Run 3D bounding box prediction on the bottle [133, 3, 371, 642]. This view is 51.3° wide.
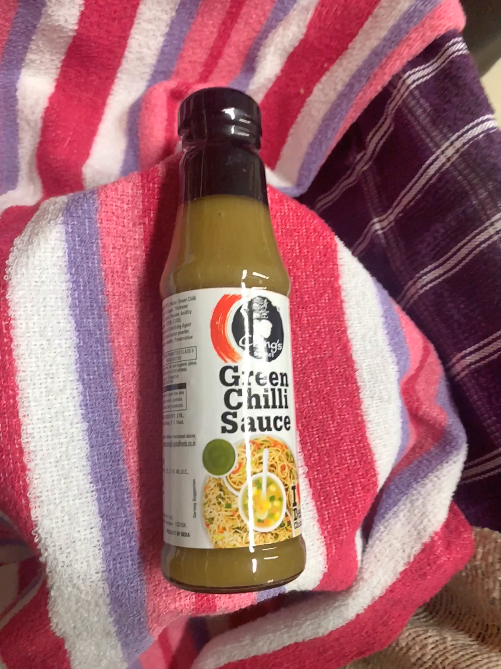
[{"bbox_3d":[-0.006,-0.007,0.169,0.050,0.050,0.170,1,78,-25],"label":"bottle"}]
